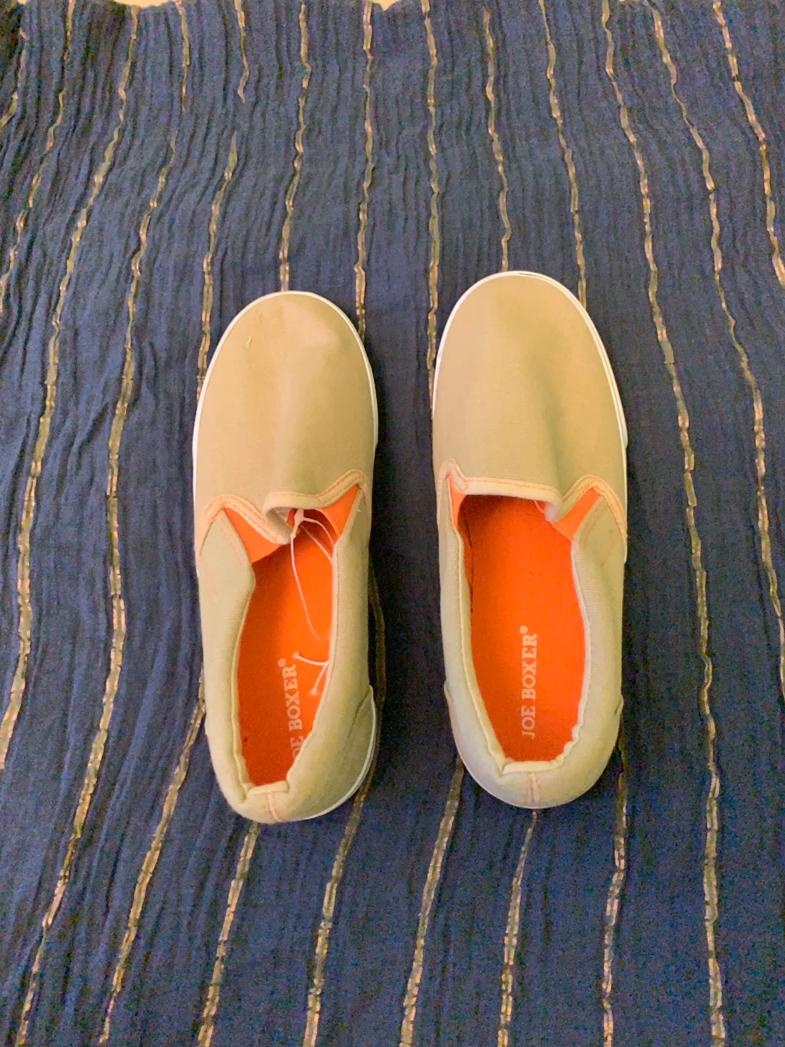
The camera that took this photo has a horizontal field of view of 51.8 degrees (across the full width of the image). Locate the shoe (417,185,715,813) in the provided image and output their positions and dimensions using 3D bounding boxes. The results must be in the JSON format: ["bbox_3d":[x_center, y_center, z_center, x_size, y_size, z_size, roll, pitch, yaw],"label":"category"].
[{"bbox_3d":[0.064,-0.014,0.368,0.100,0.080,0.271,-1,71,2],"label":"shoe"}]

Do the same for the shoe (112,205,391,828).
[{"bbox_3d":[-0.052,-0.006,0.364,0.095,0.080,0.263,-2,71,2],"label":"shoe"}]
